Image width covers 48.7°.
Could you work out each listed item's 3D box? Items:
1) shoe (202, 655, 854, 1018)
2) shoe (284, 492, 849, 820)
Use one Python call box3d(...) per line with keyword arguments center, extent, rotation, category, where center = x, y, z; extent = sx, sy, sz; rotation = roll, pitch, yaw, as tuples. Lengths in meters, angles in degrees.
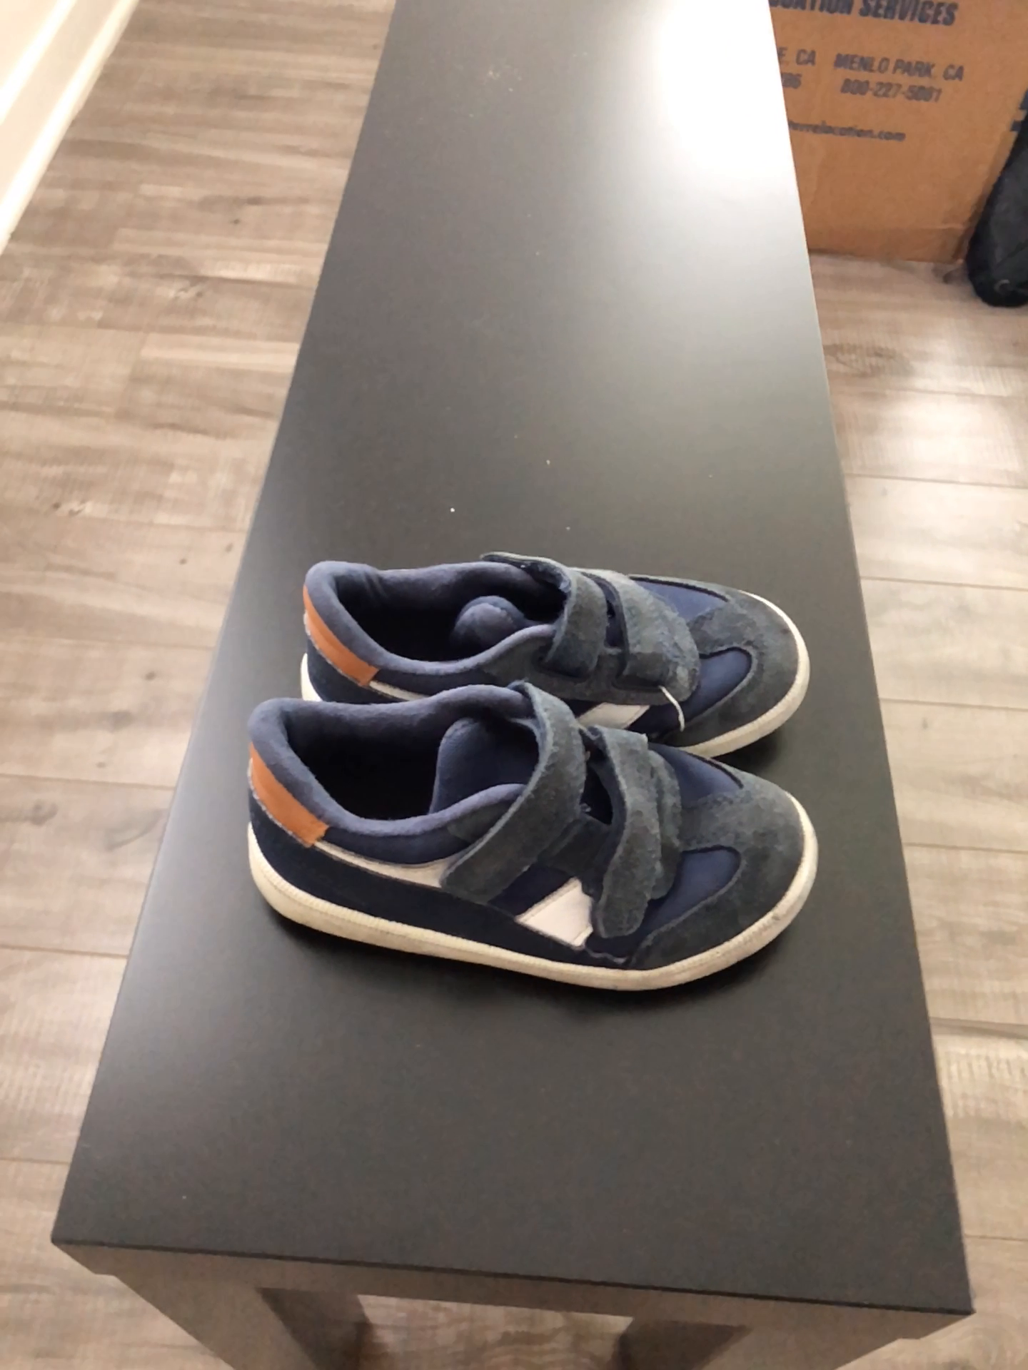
box3d(center=(0.005, 0.050, 0.373), extent=(0.185, 0.068, 0.082), rotation=(4, 53, 0), category="shoe")
box3d(center=(0.013, -0.012, 0.420), extent=(0.185, 0.068, 0.088), rotation=(-3, 54, -6), category="shoe")
